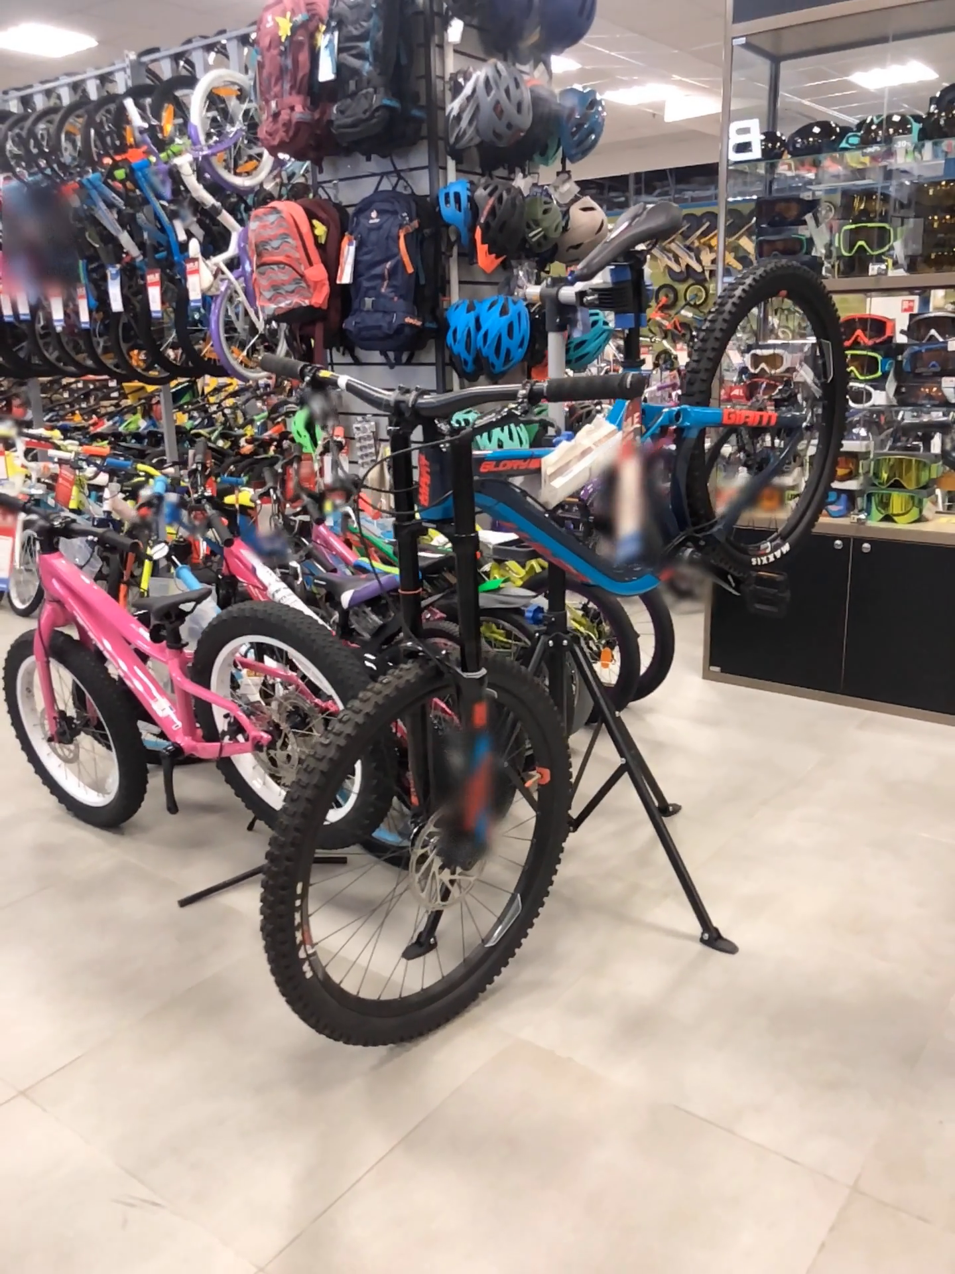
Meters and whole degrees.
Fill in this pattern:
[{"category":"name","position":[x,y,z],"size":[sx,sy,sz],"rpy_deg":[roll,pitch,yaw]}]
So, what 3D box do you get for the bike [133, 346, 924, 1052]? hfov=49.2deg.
[{"category":"bike","position":[0.142,-0.061,1.948],"size":[0.660,0.182,1.527],"rpy_deg":[16,50,44]}]
